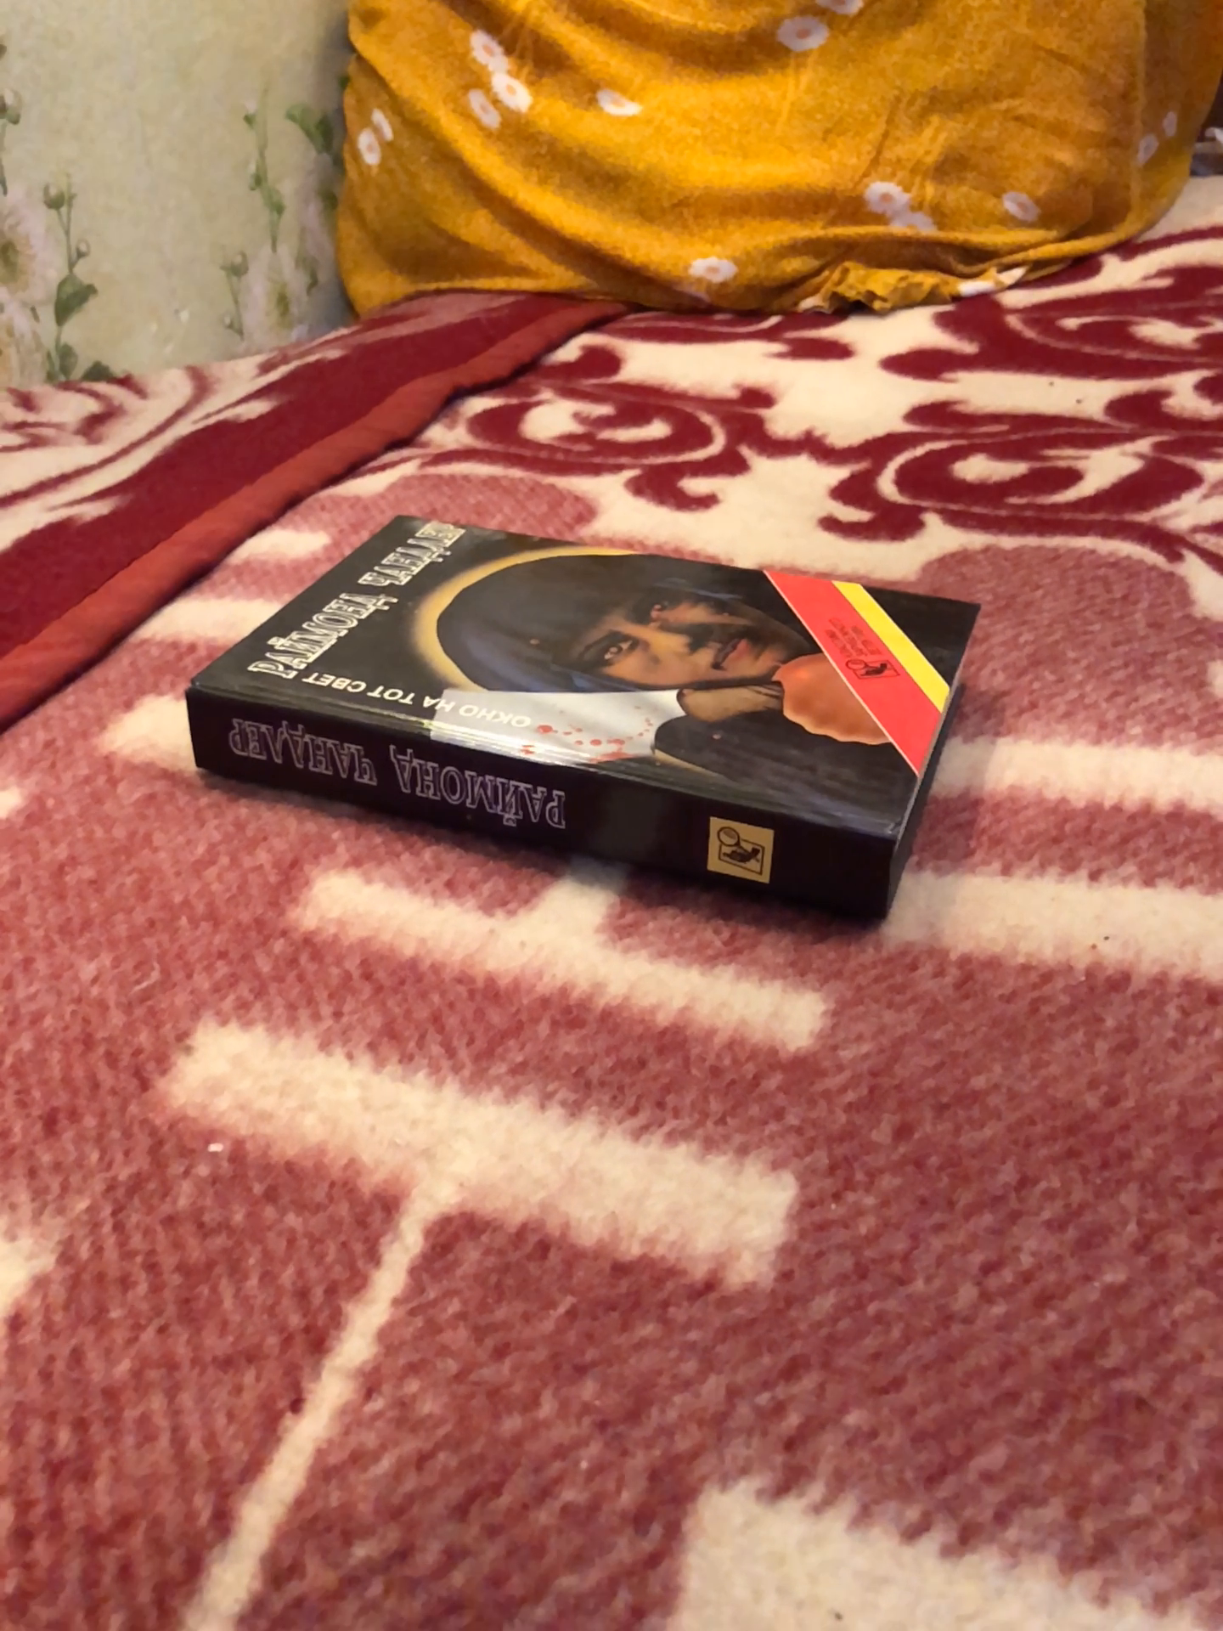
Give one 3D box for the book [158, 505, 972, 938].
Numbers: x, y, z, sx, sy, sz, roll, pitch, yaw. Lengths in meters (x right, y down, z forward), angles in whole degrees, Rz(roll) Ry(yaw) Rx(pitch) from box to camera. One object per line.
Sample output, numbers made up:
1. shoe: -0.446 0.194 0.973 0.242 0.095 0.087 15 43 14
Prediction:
1. book: -0.008 -0.040 0.415 0.209 0.032 0.134 13 37 17
